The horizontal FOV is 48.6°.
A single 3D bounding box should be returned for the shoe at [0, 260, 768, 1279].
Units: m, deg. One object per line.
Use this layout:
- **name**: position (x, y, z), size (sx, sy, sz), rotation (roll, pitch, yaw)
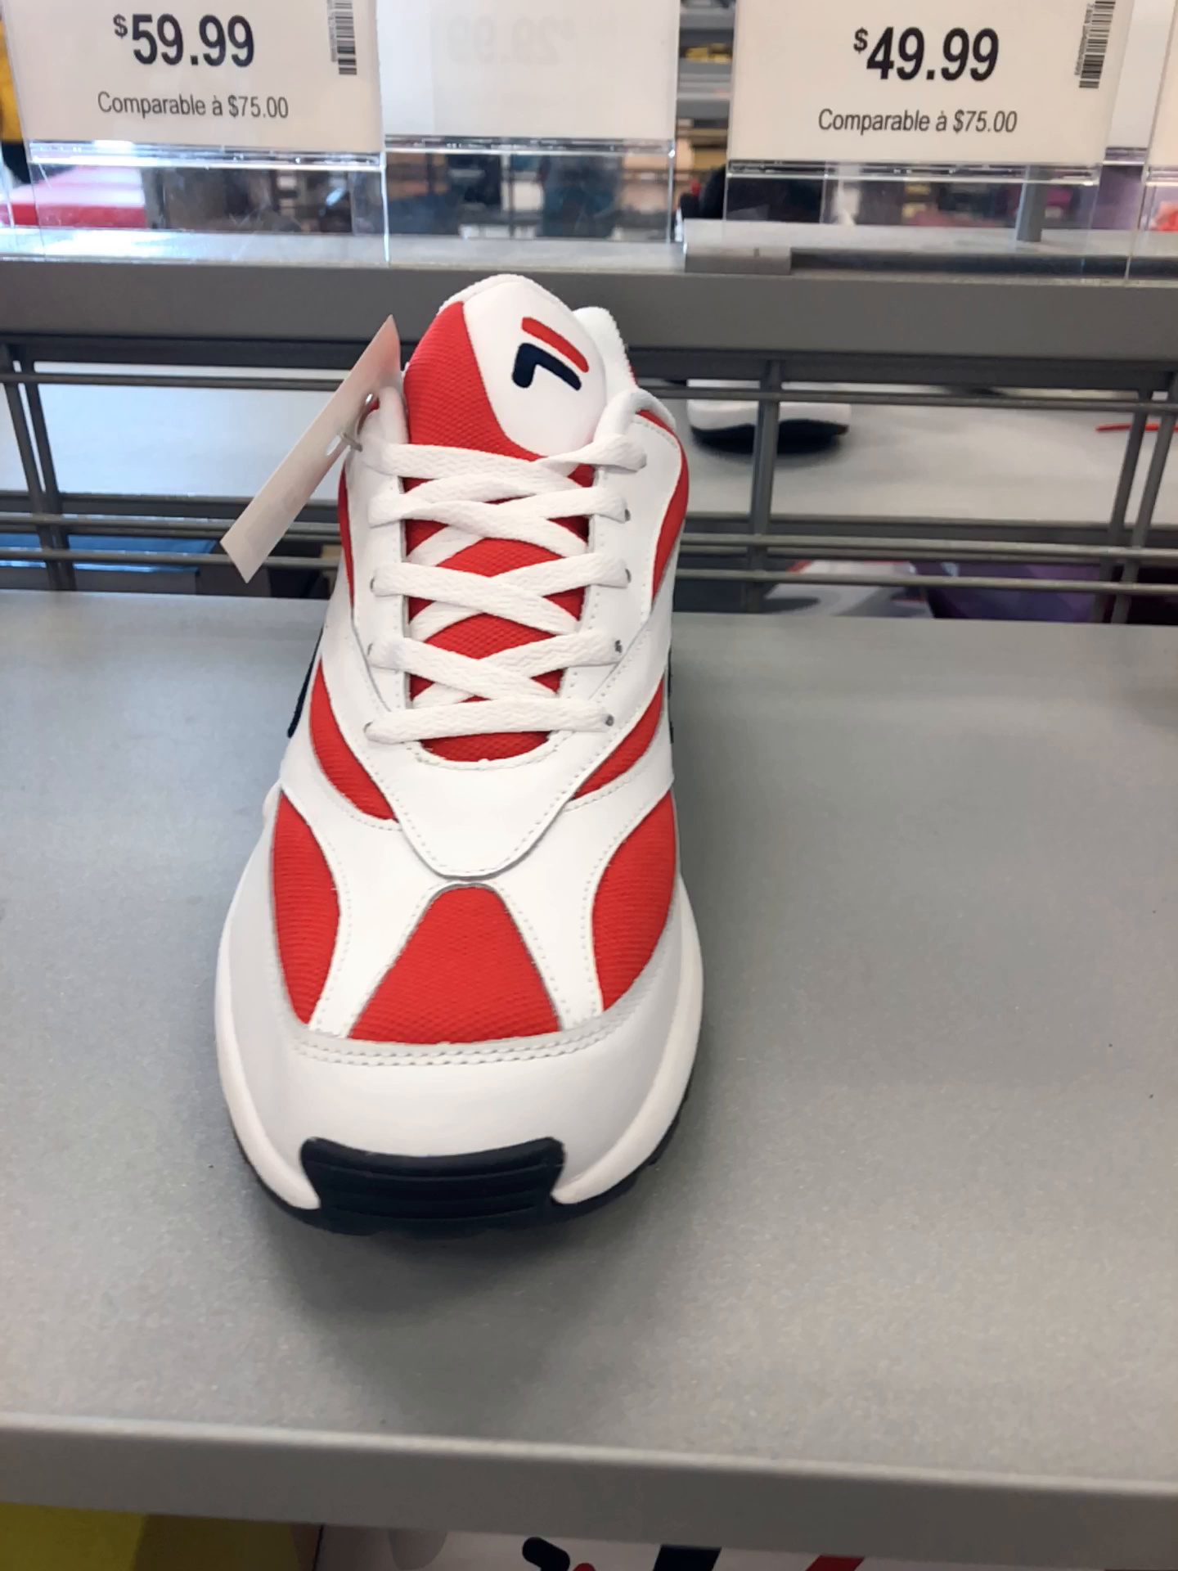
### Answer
- **shoe**: position (-0.029, -0.035, 0.333), size (0.120, 0.129, 0.272), rotation (2, 33, 2)
